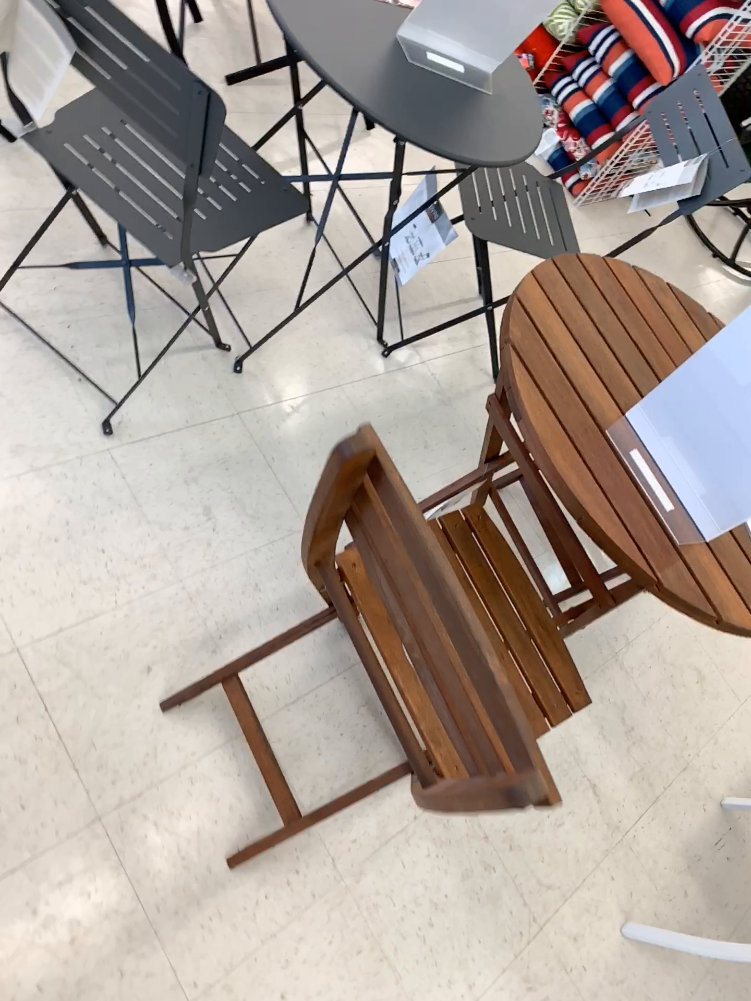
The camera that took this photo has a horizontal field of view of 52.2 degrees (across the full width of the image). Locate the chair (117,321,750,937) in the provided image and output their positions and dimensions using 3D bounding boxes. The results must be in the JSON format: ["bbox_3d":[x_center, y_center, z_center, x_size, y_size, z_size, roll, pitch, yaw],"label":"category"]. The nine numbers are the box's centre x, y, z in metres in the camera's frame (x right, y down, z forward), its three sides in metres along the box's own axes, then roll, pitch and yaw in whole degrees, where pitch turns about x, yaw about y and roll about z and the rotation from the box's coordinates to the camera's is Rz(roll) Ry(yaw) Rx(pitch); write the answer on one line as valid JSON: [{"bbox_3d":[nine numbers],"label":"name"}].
[{"bbox_3d":[0.075,0.208,1.057,0.552,0.776,0.440,-19,74,-38],"label":"chair"}]
